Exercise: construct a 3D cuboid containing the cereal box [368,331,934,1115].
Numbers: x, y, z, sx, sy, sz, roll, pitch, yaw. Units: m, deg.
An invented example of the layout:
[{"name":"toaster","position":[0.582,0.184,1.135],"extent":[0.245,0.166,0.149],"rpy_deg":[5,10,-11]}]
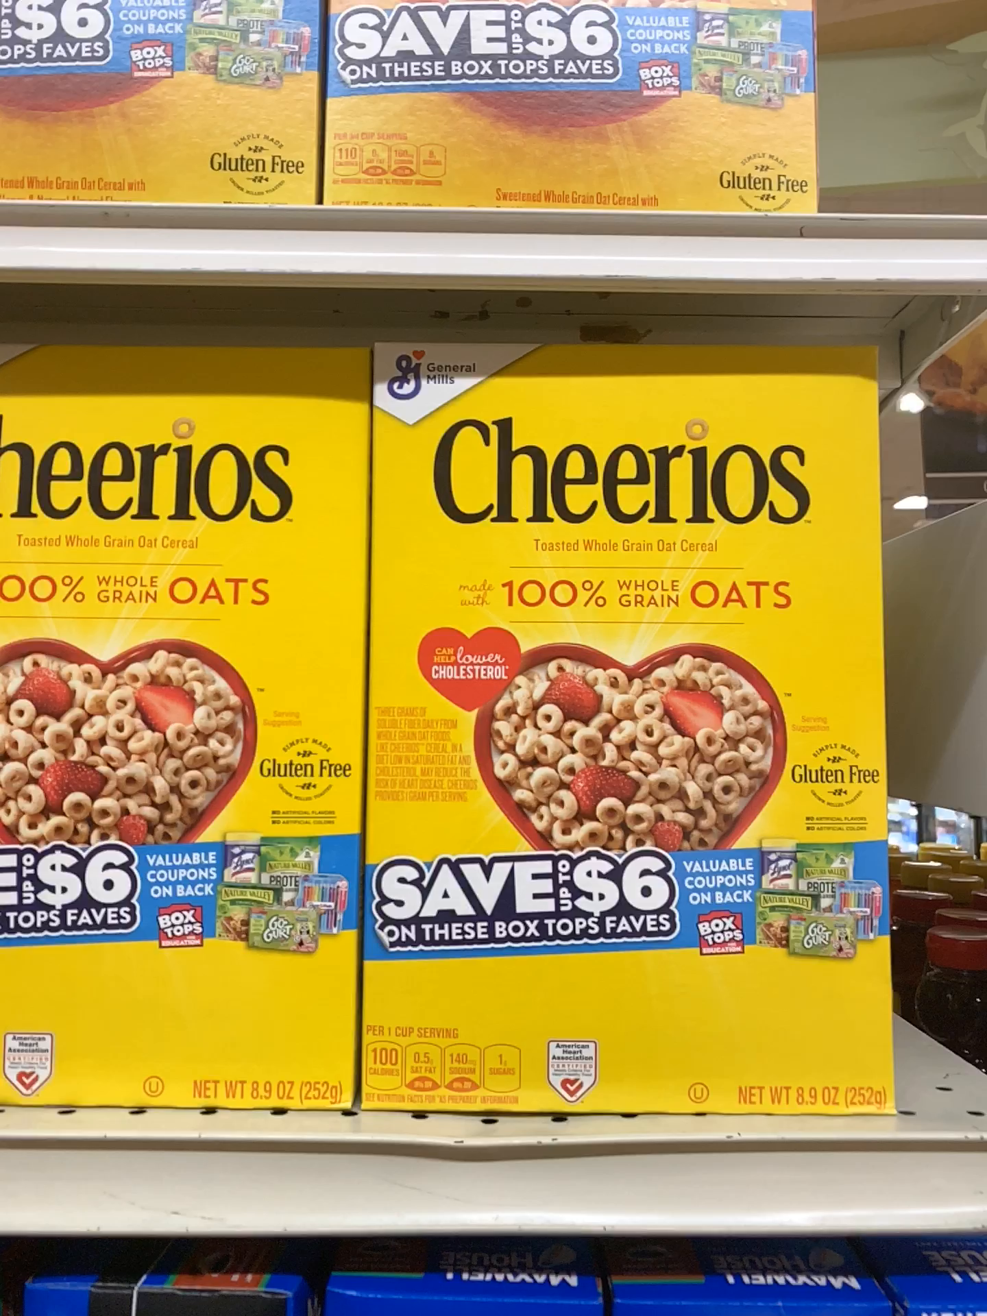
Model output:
[{"name":"cereal box","position":[0.053,0.020,0.375],"extent":[0.190,0.270,0.050],"rpy_deg":[0,-5,0]}]
